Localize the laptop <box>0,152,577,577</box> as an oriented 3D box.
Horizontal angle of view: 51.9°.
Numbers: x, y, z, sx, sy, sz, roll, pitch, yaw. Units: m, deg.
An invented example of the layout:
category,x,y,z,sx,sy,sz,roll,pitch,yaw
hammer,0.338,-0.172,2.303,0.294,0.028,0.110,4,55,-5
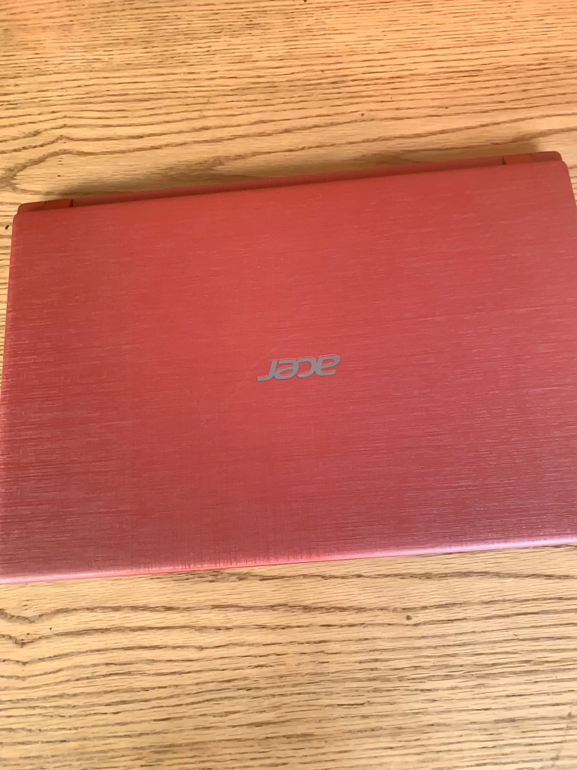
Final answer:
category,x,y,z,sx,sy,sz,roll,pitch,yaw
laptop,0.004,-0.016,0.363,0.362,0.013,0.236,-5,76,4
